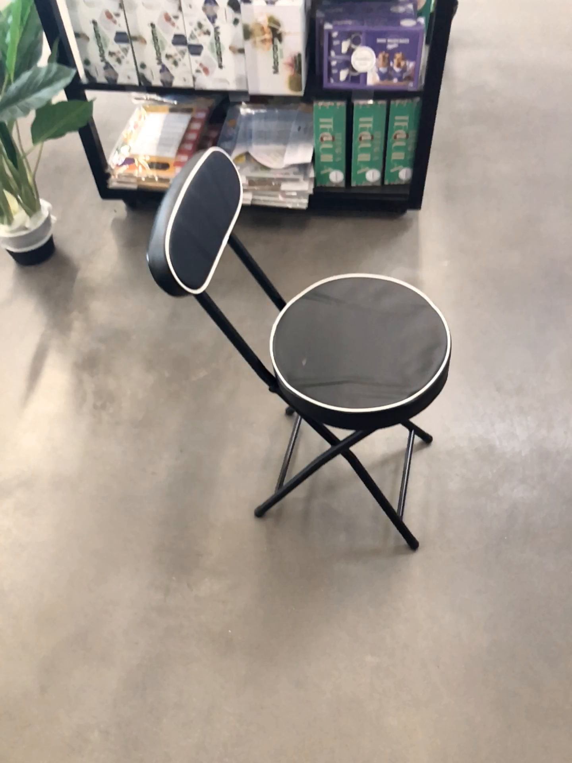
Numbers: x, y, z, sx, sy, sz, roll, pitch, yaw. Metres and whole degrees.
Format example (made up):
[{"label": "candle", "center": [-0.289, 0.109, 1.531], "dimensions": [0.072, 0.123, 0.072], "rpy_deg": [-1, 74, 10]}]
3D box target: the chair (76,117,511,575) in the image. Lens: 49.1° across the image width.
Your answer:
[{"label": "chair", "center": [0.043, -0.005, 1.130], "dimensions": [0.510, 0.756, 0.342], "rpy_deg": [10, 54, 10]}]
